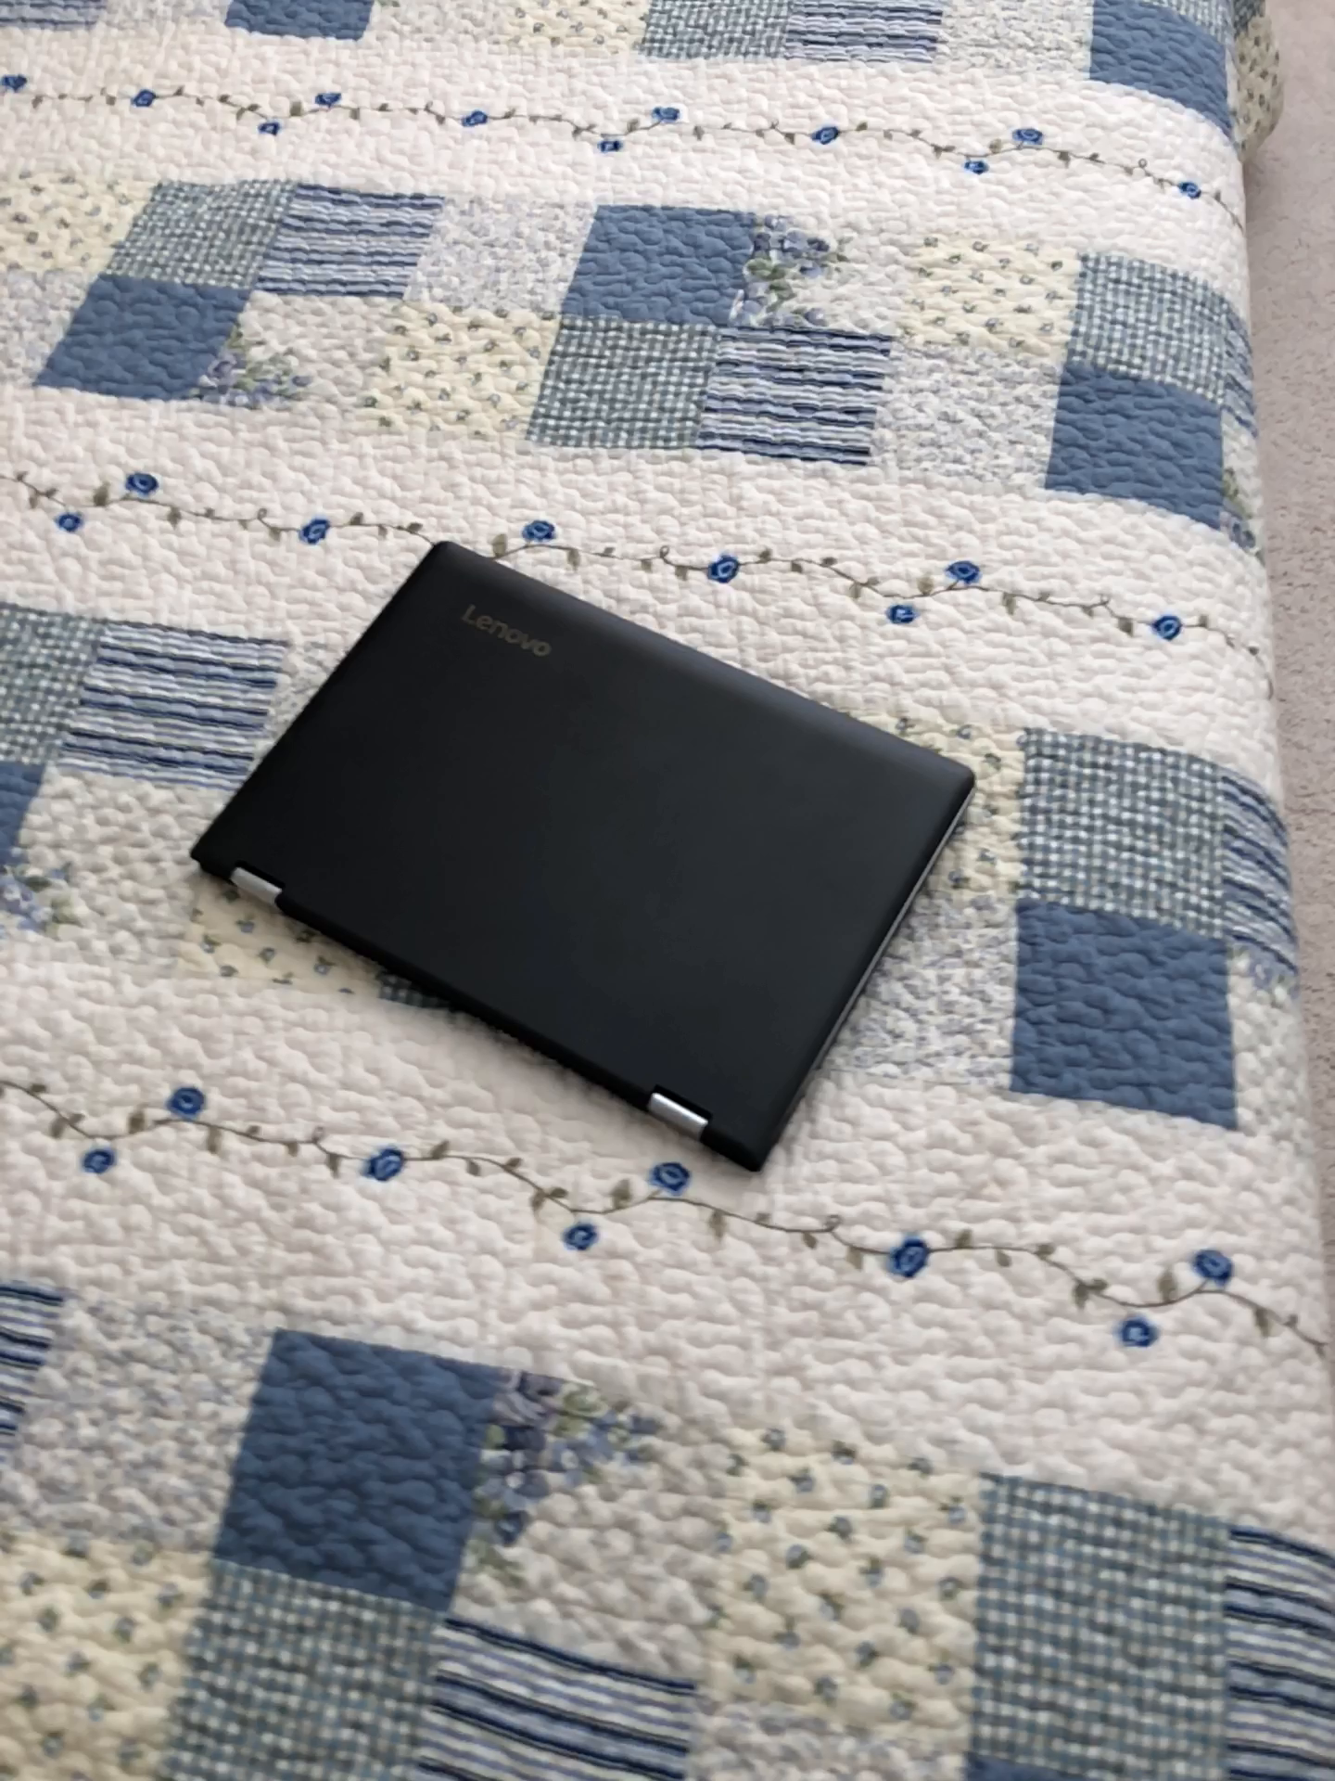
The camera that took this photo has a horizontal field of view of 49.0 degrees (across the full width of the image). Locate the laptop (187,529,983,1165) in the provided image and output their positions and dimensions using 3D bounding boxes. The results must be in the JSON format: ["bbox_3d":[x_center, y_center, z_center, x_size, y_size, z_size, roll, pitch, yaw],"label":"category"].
[{"bbox_3d":[-0.043,-0.039,0.716,0.321,0.008,0.224,26,69,17],"label":"laptop"}]
